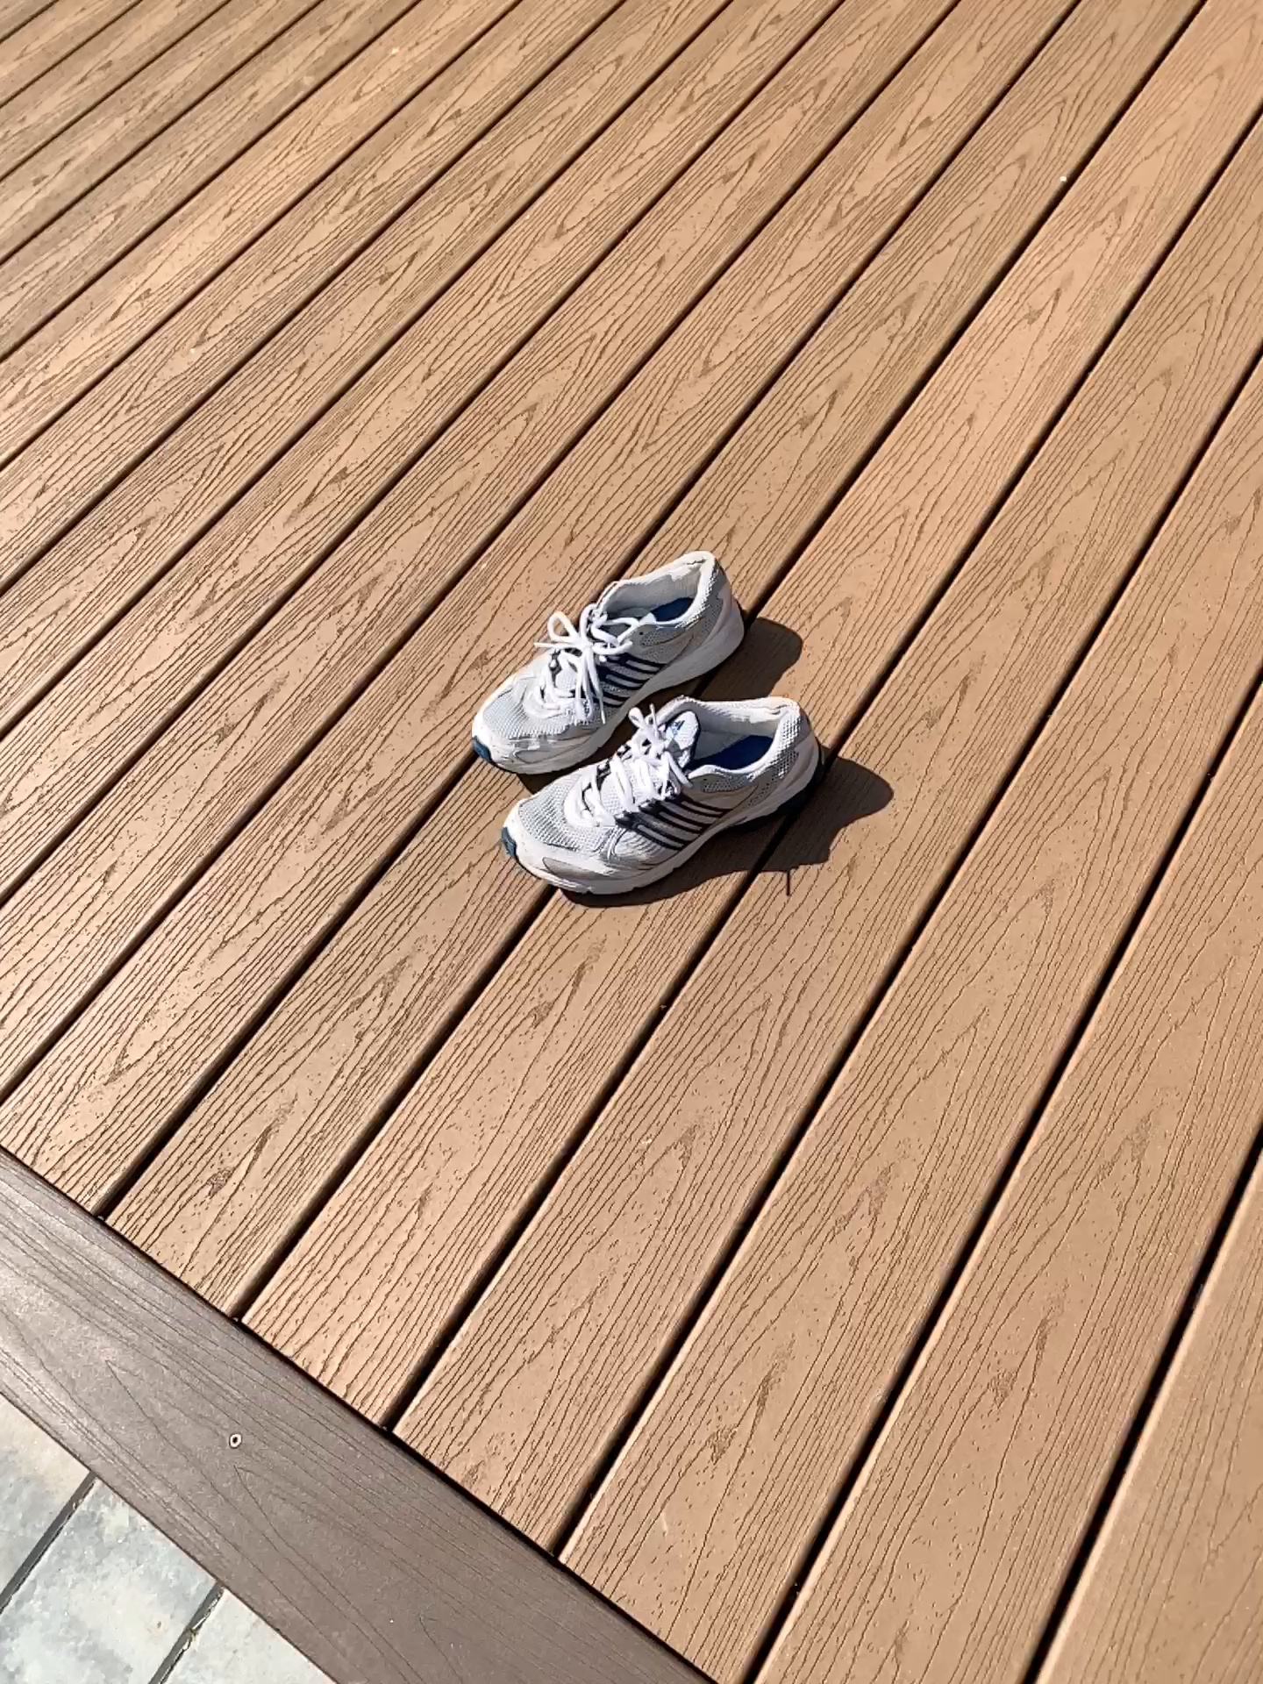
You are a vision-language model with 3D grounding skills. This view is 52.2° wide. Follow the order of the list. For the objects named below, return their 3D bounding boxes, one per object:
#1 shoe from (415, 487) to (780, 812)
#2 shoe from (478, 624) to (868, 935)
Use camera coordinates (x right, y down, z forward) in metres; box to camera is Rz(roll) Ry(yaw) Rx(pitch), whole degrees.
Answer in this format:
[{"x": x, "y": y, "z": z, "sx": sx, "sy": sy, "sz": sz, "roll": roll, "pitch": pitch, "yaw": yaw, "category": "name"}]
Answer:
[{"x": -0.024, "y": -0.174, "z": 1.153, "sx": 0.300, "sy": 0.100, "sz": 0.120, "roll": -34, "pitch": 61, "yaw": -12, "category": "shoe"}, {"x": 0.037, "y": -0.052, "z": 1.075, "sx": 0.290, "sy": 0.100, "sz": 0.120, "roll": -24, "pitch": 60, "yaw": -6, "category": "shoe"}]
